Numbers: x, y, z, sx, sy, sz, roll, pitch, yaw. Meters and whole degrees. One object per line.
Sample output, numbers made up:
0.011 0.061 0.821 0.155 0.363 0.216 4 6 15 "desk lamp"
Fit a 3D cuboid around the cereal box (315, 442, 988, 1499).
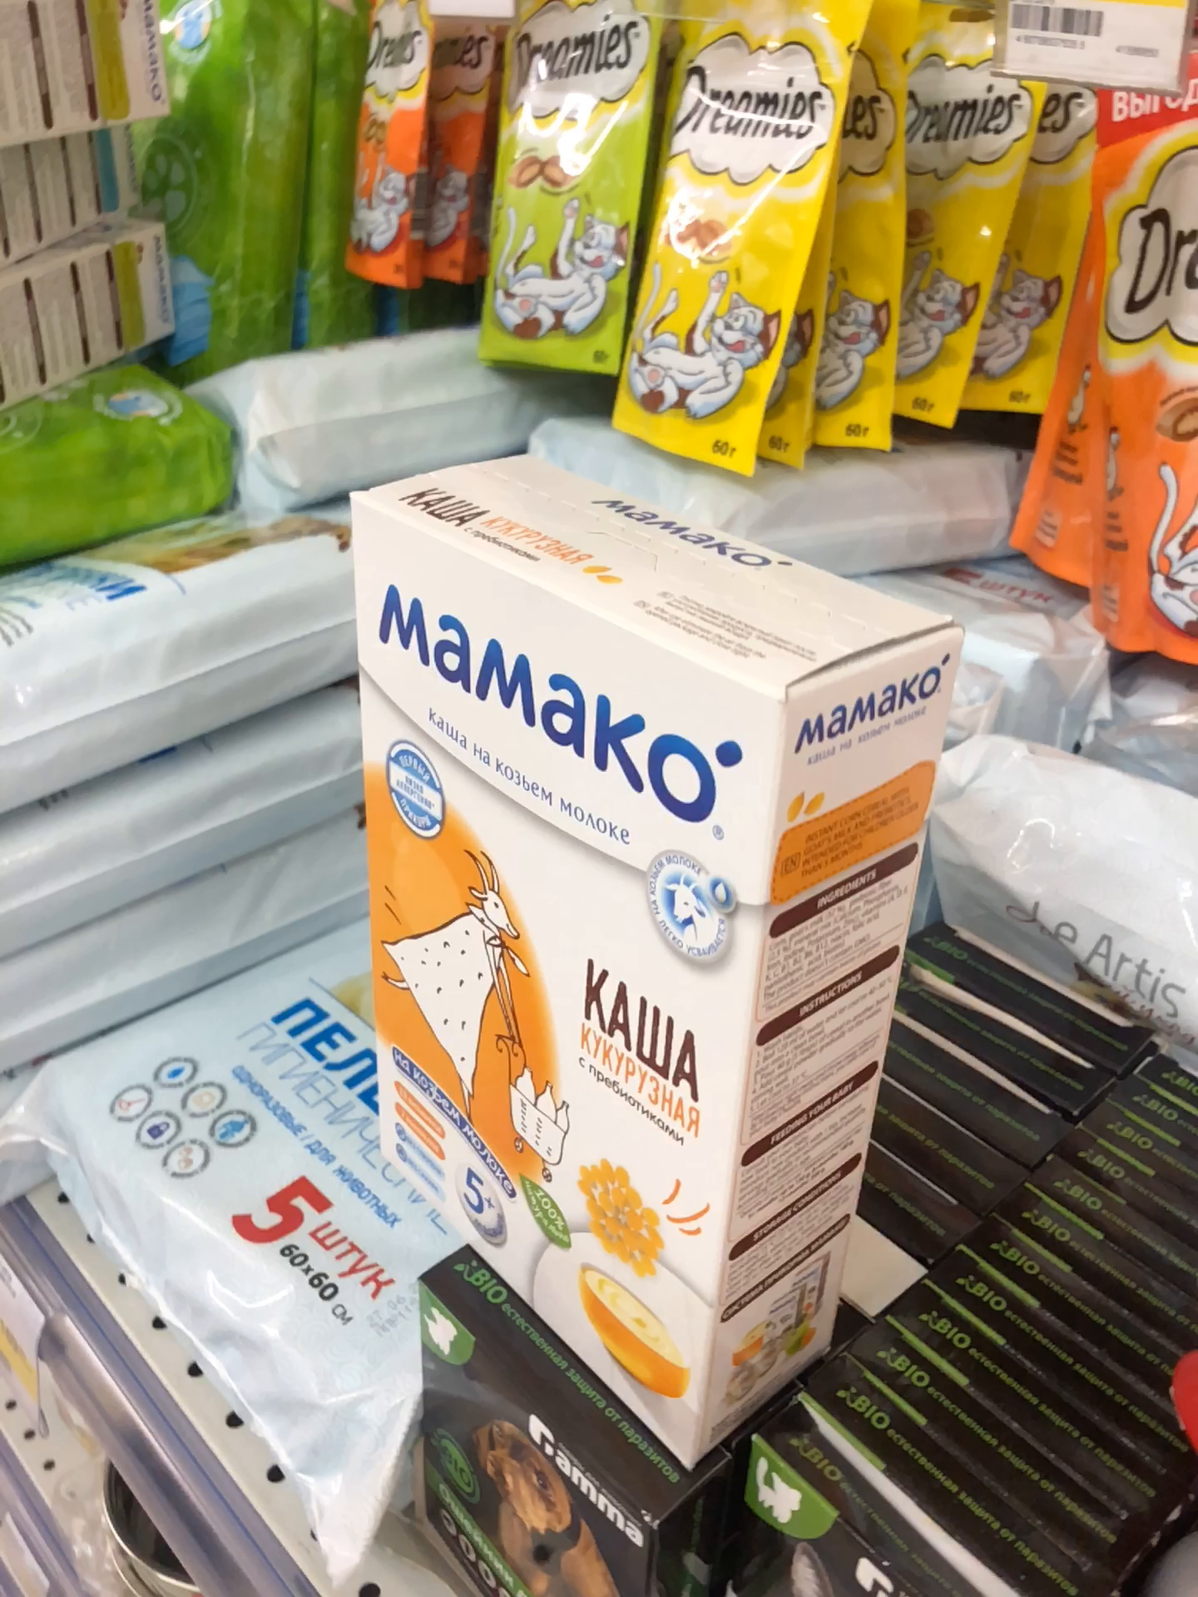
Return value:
-0.003 0.036 0.311 0.050 0.199 0.141 -21 38 -37 "cereal box"
